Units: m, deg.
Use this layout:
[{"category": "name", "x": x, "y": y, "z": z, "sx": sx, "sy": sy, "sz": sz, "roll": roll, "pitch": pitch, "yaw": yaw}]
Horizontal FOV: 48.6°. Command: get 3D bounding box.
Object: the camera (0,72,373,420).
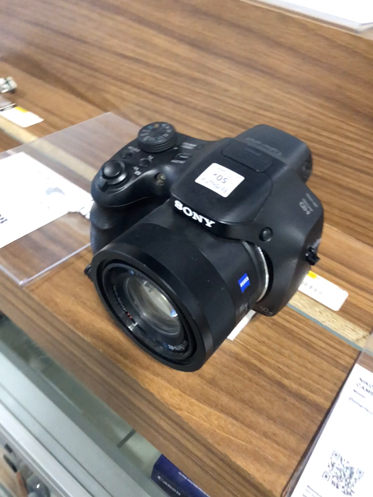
[{"category": "camera", "x": 0.003, "y": -0.017, "z": 0.226, "sx": 0.130, "sy": 0.089, "sz": 0.131, "roll": 30, "pitch": 45, "yaw": 22}]
